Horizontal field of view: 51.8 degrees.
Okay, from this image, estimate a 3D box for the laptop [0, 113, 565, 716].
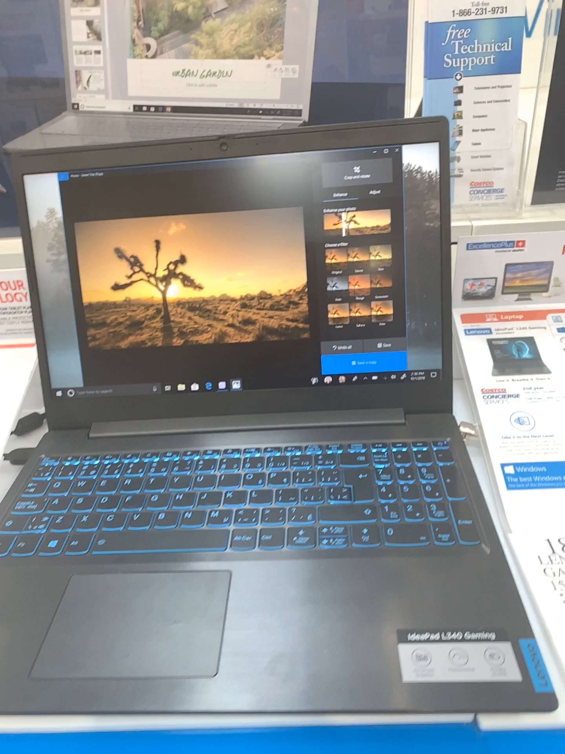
[{"bbox_3d":[-0.035,-0.016,0.373,0.340,0.214,0.330,-2,32,3],"label":"laptop"}]
